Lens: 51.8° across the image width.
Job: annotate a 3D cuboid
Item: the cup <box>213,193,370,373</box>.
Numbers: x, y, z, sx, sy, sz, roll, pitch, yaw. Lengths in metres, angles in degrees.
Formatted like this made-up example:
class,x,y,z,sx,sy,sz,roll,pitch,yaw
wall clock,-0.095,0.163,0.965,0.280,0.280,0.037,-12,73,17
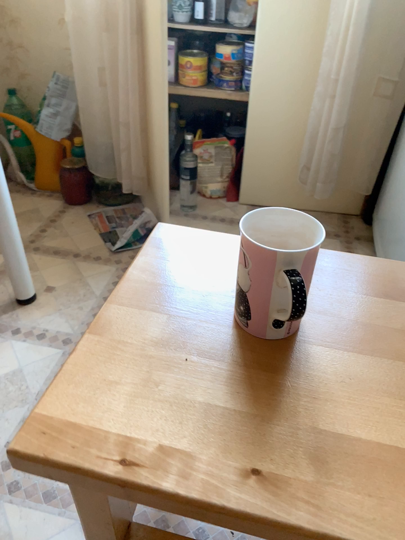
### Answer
class,x,y,z,sx,sy,sz,roll,pitch,yaw
cup,0.067,0.006,0.374,0.080,0.099,0.121,-7,37,-13
